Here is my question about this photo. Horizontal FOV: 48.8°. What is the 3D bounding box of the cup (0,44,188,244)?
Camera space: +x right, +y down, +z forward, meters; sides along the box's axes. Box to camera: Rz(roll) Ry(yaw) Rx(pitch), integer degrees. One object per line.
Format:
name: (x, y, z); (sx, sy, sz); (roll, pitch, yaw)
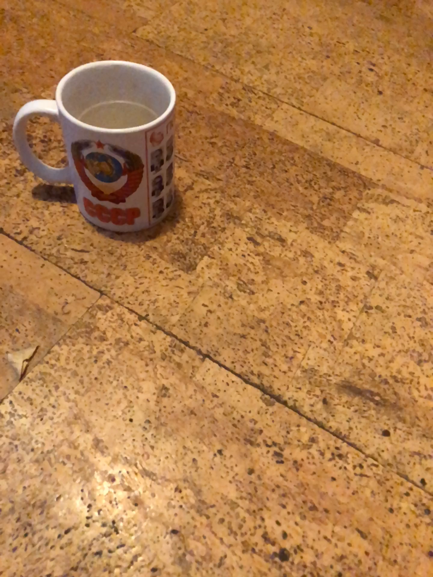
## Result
cup: (-0.089, -0.105, 0.360); (0.119, 0.099, 0.083); (8, 55, -1)
